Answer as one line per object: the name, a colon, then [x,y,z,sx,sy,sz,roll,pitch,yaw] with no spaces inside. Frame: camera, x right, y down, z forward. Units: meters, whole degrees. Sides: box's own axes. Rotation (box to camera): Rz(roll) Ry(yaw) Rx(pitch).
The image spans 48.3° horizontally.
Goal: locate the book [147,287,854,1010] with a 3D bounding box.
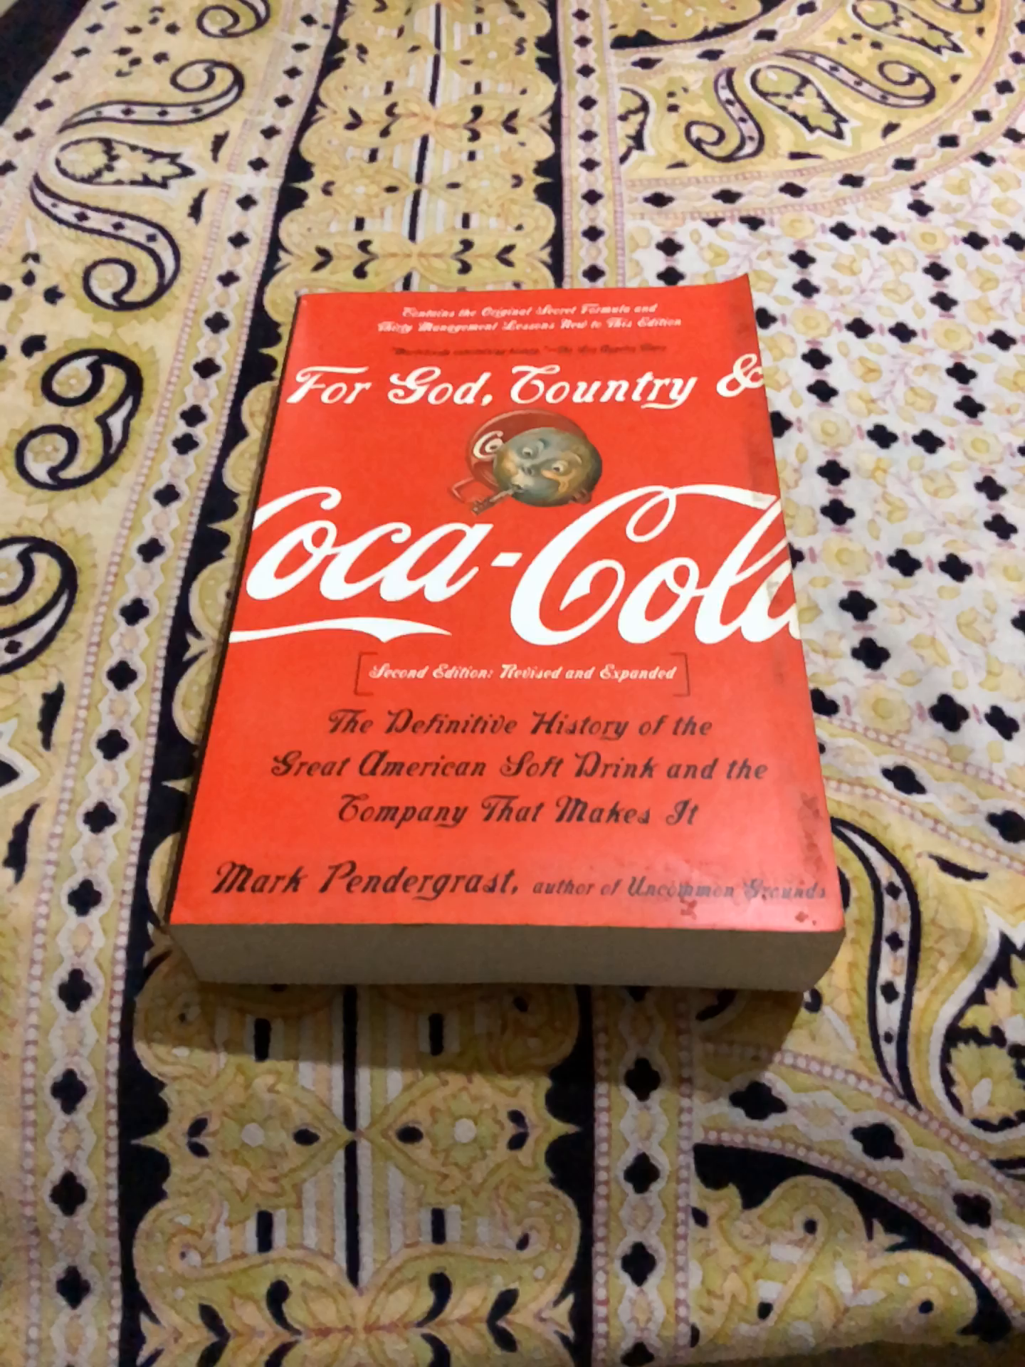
book: [-0.001,-0.024,0.344,0.160,0.050,0.231,0,56,2]
